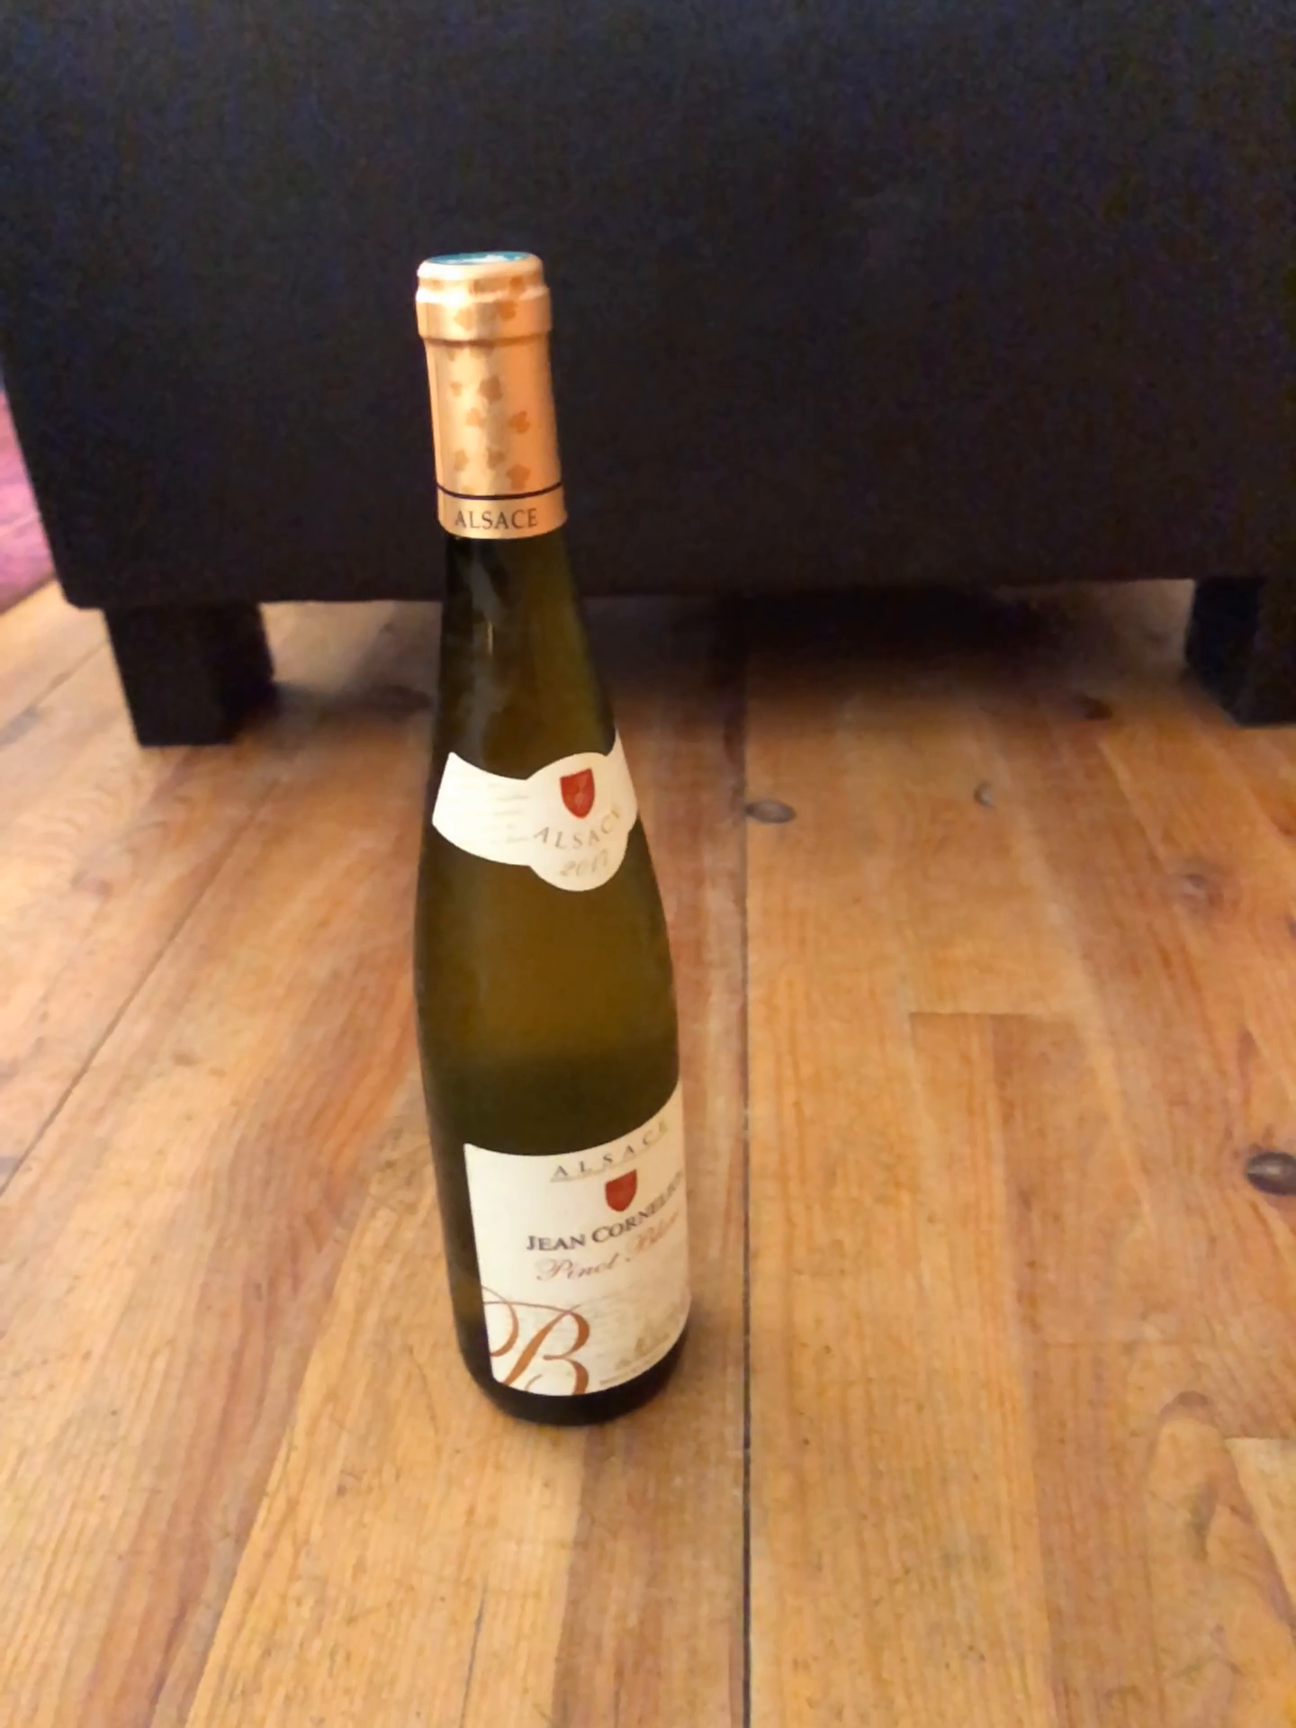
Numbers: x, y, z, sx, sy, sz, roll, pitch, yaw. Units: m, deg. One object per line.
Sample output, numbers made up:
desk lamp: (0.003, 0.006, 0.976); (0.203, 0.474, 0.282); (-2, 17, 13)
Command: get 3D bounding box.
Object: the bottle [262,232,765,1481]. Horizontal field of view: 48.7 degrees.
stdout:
bottle: (-0.025, 0.009, 0.384); (0.080, 0.318, 0.080); (-2, 28, 1)
